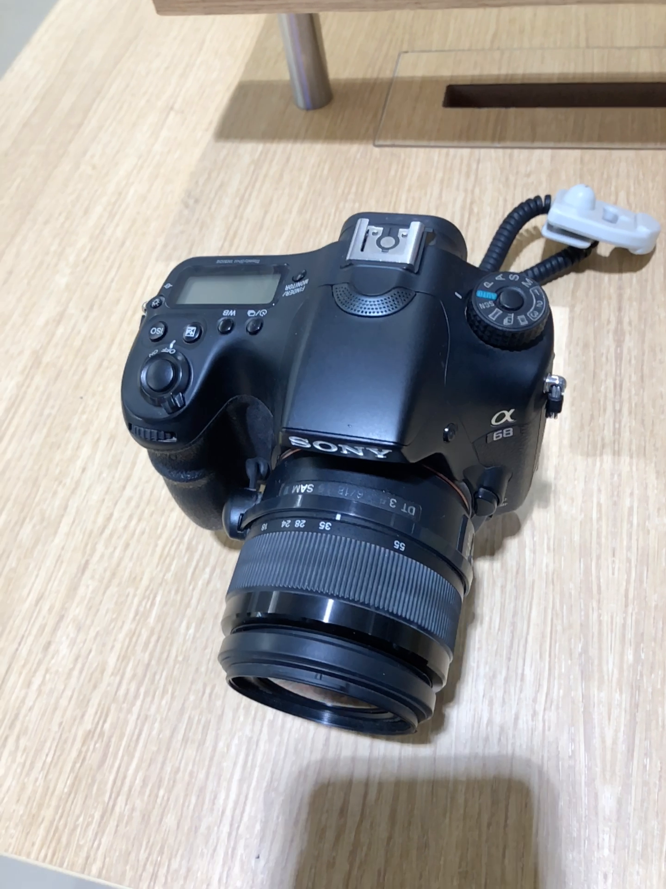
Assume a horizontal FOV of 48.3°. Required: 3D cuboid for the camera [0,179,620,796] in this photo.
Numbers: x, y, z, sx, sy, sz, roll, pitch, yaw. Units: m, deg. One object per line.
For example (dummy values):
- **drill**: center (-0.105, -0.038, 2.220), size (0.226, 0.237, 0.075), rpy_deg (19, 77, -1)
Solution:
- **camera**: center (-0.004, 0.005, 0.202), size (0.140, 0.080, 0.131), rpy_deg (6, 59, 15)
